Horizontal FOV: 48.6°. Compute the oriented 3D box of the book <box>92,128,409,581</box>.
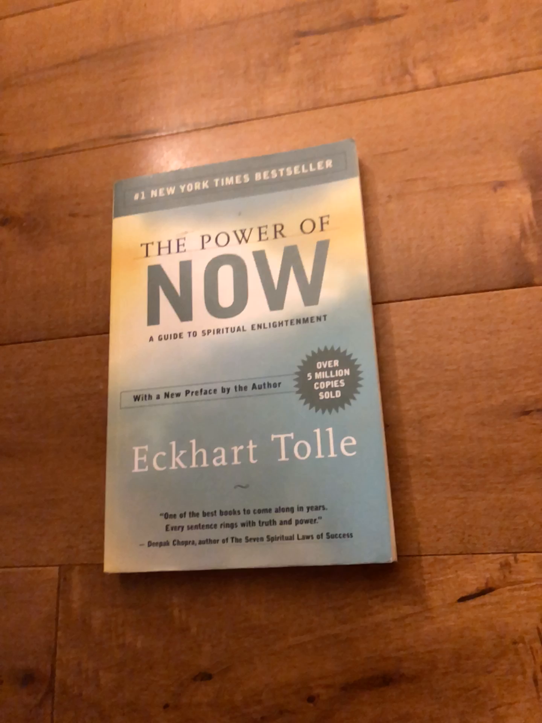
[{"bbox_3d":[-0.015,-0.006,0.315,0.146,0.030,0.222,-6,72,12],"label":"book"}]
